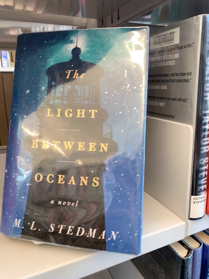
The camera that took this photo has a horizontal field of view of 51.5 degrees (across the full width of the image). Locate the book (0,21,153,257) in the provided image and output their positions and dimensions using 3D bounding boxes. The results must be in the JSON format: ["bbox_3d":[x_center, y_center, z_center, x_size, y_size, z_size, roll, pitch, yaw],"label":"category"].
[{"bbox_3d":[-0.029,-0.007,0.243,0.155,0.225,0.042,2,-5,12],"label":"book"}]
